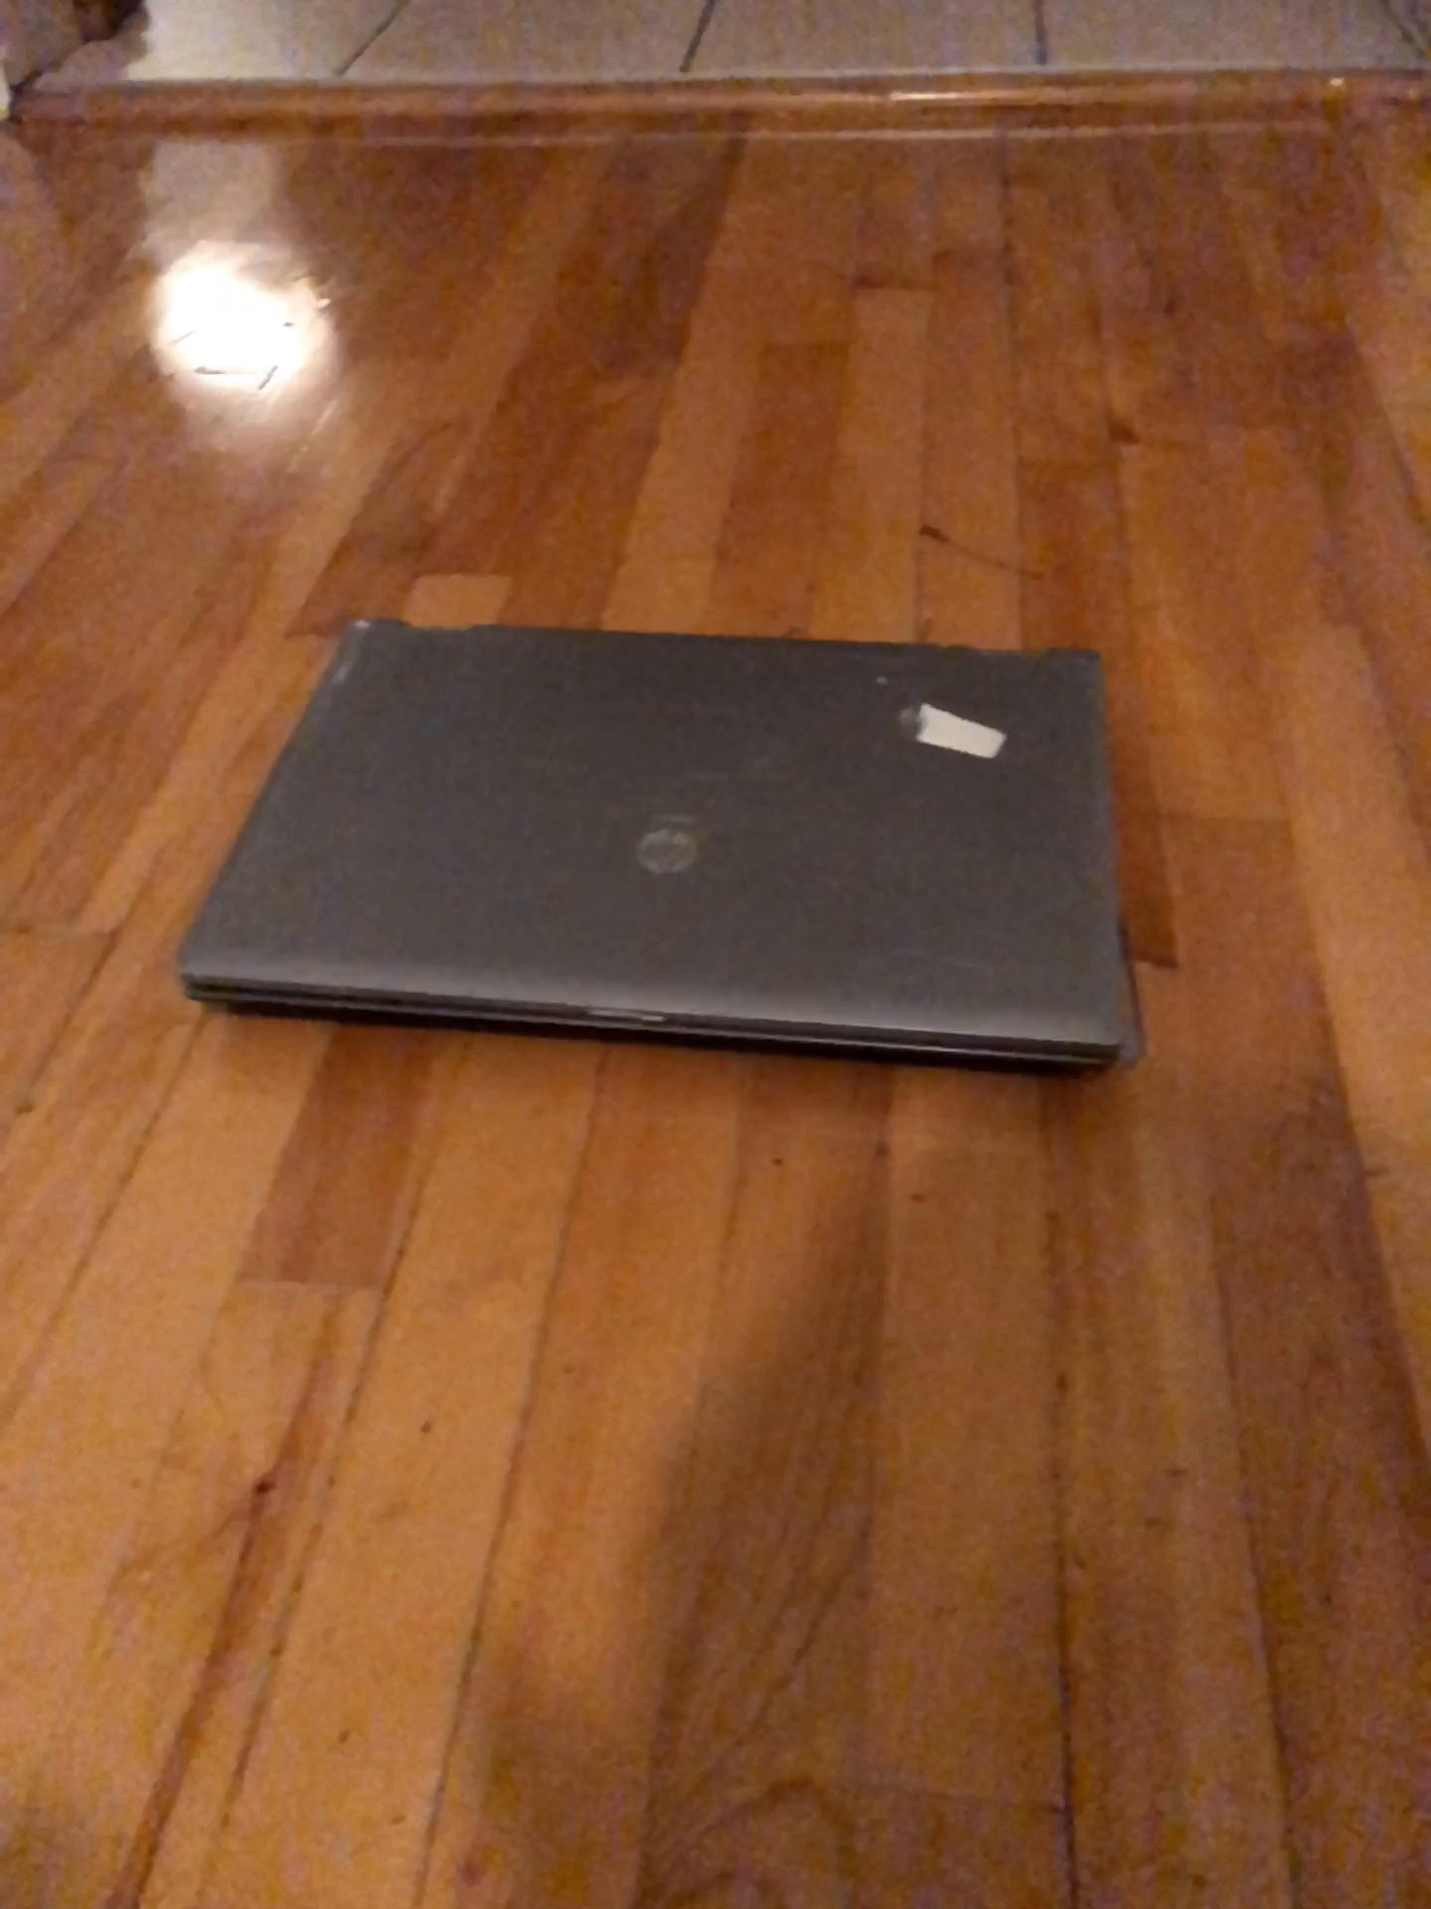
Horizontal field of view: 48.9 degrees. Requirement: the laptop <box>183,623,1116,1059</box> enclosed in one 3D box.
[{"bbox_3d":[-0.015,-0.064,0.686,0.363,0.010,0.242,4,47,7],"label":"laptop"}]
